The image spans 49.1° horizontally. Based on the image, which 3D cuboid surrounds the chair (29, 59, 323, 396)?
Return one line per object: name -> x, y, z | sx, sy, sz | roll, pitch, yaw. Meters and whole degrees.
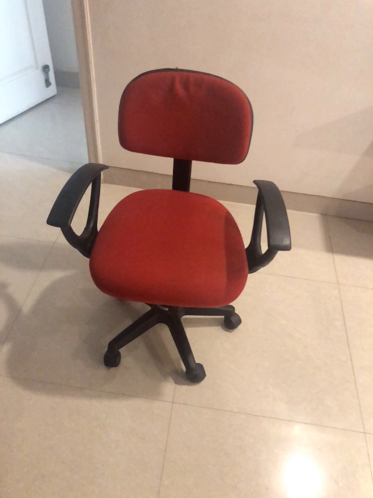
chair -> -0.017, -0.048, 1.214 | 0.540, 0.725, 0.604 | 7, 45, 1
